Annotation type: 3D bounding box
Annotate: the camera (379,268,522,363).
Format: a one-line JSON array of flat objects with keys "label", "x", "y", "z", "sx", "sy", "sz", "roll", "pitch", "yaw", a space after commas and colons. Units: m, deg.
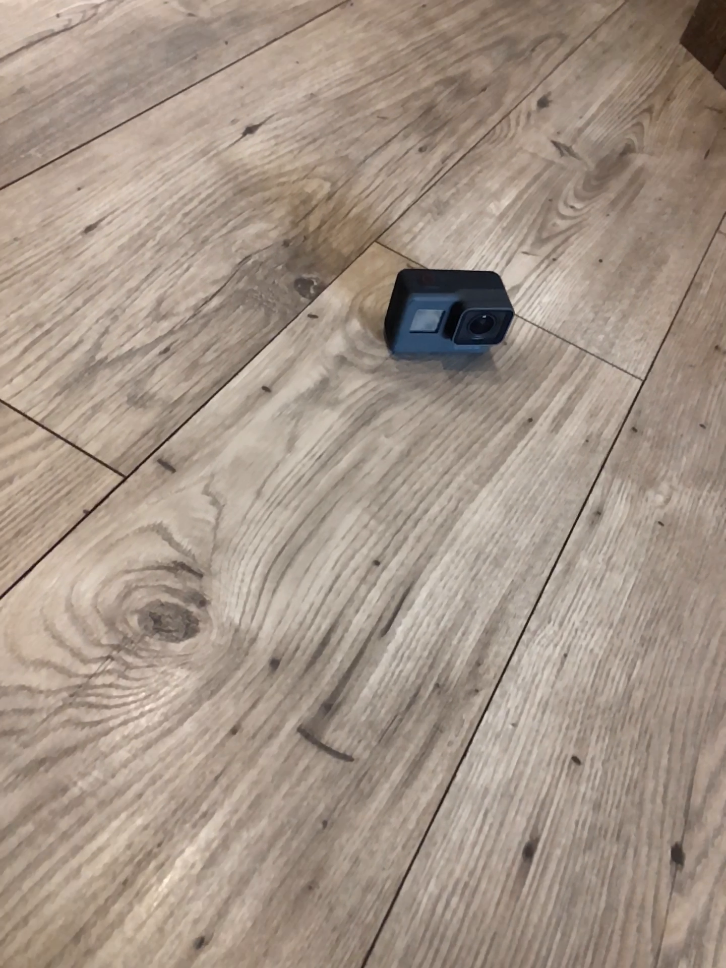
[{"label": "camera", "x": 0.048, "y": -0.094, "z": 0.448, "sx": 0.065, "sy": 0.040, "sz": 0.032, "roll": -3, "pitch": 54, "yaw": -16}]
